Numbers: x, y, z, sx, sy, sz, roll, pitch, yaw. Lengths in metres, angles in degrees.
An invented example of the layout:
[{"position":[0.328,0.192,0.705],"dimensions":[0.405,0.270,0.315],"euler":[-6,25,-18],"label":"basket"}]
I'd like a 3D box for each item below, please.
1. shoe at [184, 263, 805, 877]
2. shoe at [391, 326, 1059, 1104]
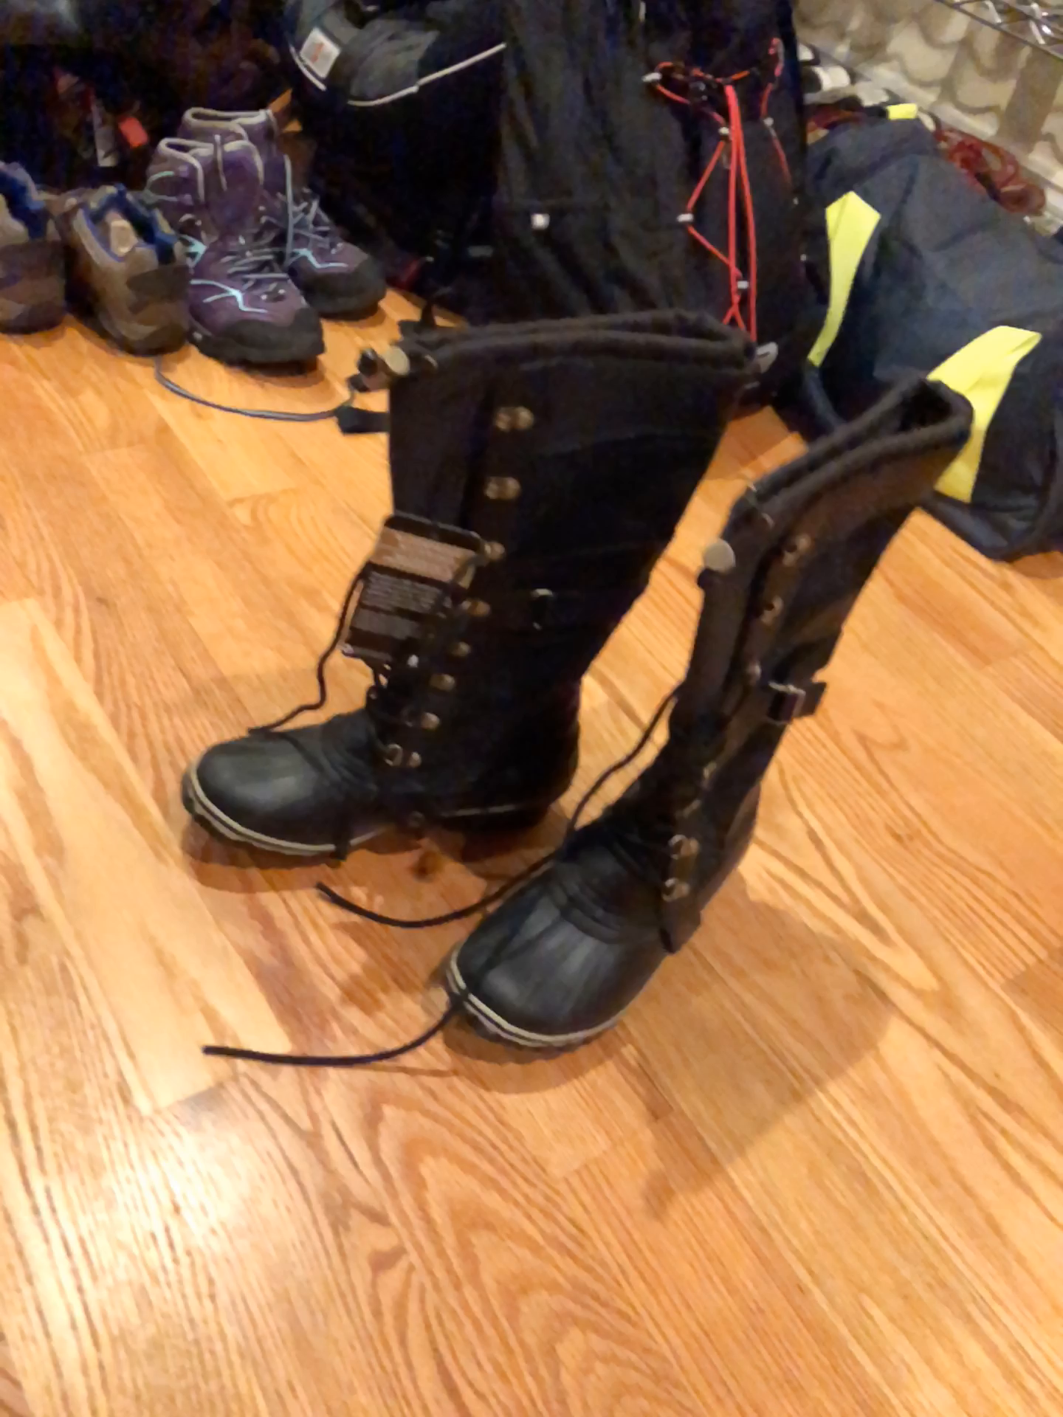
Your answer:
[{"position":[-0.043,-0.059,0.629],"dimensions":[0.260,0.308,0.100],"euler":[-5,47,-22],"label":"shoe"},{"position":[0.083,0.007,0.588],"dimensions":[0.100,0.328,0.261],"euler":[41,48,23],"label":"shoe"}]
